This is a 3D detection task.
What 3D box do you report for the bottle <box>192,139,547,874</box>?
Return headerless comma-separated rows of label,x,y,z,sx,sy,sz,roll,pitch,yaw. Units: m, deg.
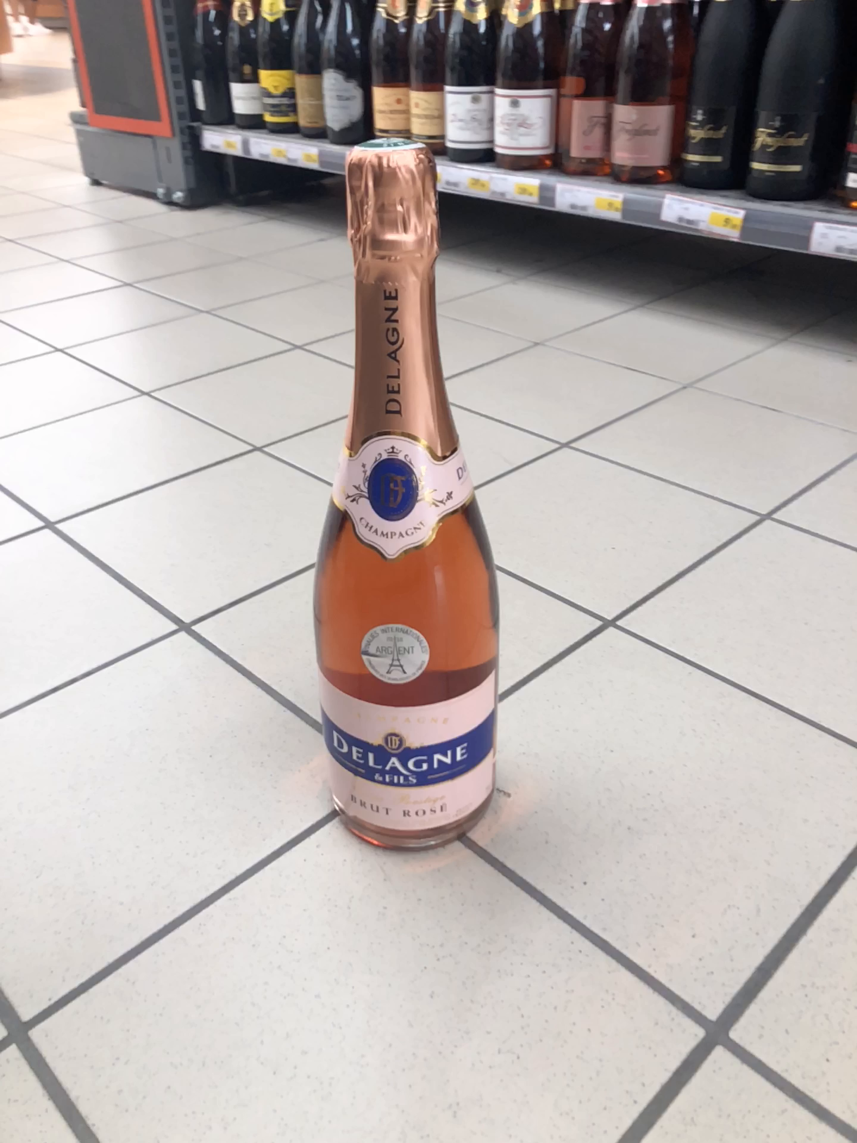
bottle,-0.011,-0.017,0.393,0.100,0.288,0.091,5,31,11
